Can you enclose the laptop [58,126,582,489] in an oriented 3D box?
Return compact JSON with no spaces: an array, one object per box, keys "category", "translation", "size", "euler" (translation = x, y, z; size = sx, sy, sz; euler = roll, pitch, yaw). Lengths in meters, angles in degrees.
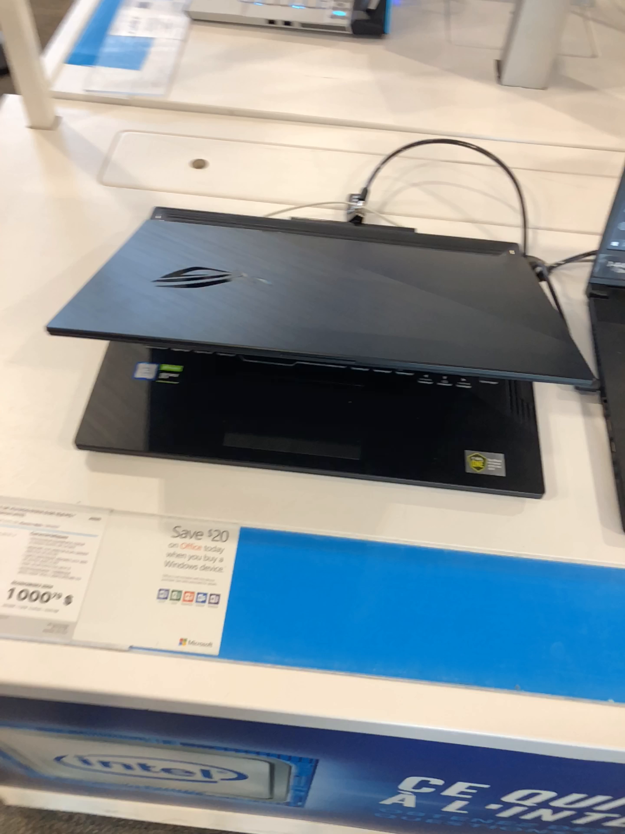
[{"category":"laptop","translation":[0.015,-0.098,0.546],"size":[0.331,0.097,0.263],"euler":[6,56,3]}]
